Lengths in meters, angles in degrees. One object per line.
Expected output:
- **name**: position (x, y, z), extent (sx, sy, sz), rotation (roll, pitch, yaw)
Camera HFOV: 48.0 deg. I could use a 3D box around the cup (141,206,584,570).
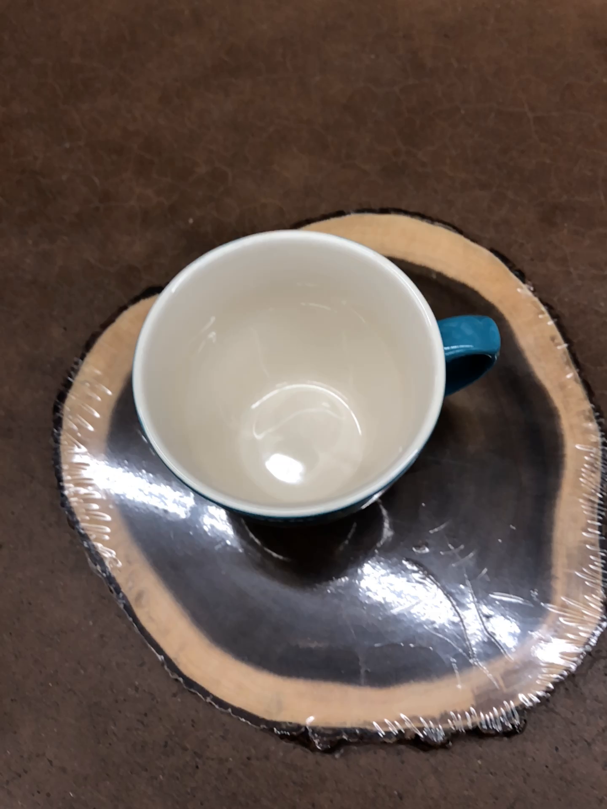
- **cup**: position (0.015, -0.001, 0.257), extent (0.130, 0.080, 0.100), rotation (-7, 69, 1)
